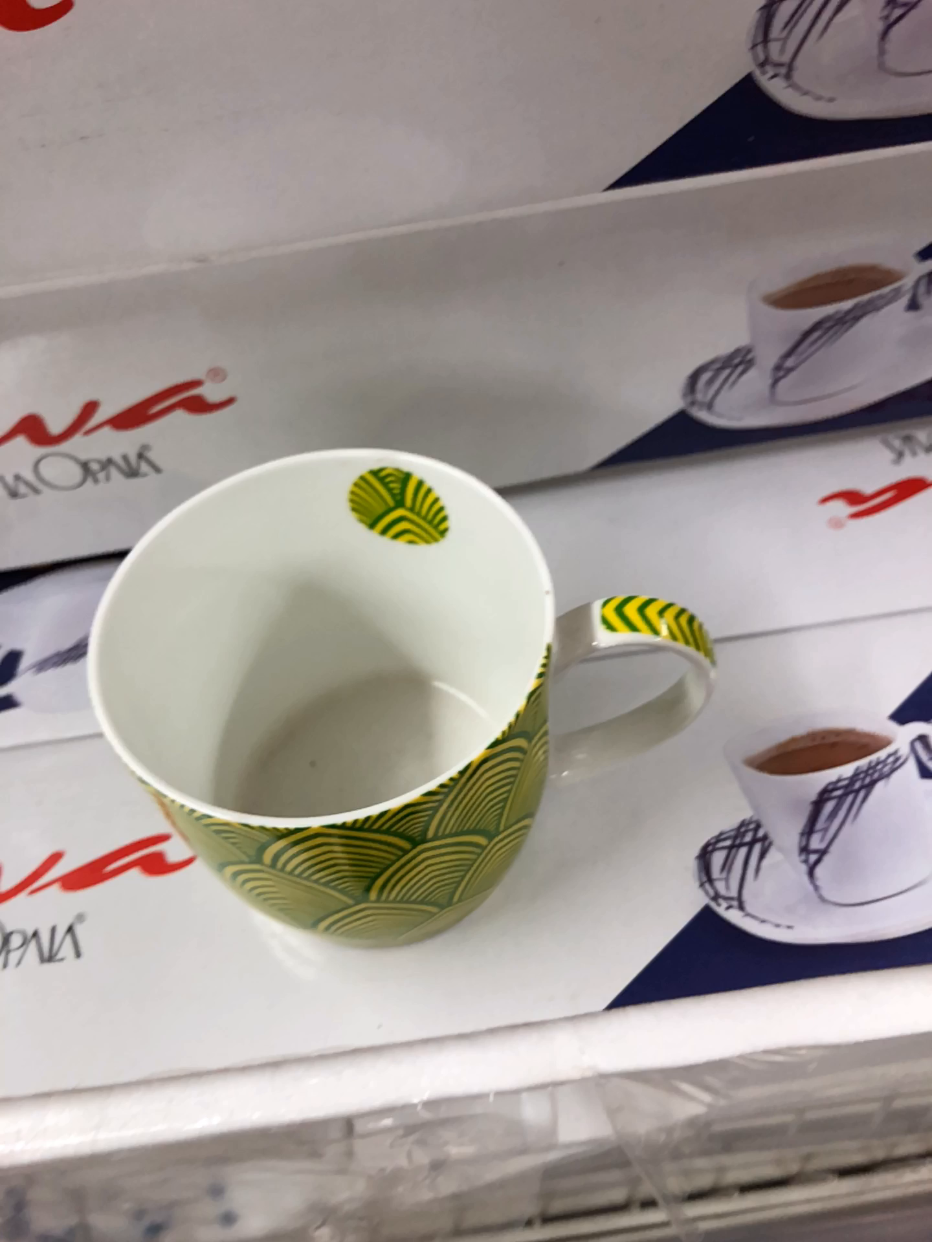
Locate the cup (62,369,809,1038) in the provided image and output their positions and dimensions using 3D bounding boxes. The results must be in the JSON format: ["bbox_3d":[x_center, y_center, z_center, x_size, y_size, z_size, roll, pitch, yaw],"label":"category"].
[{"bbox_3d":[-0.009,0.018,0.224,0.120,0.080,0.090,-12,53,-3],"label":"cup"}]
